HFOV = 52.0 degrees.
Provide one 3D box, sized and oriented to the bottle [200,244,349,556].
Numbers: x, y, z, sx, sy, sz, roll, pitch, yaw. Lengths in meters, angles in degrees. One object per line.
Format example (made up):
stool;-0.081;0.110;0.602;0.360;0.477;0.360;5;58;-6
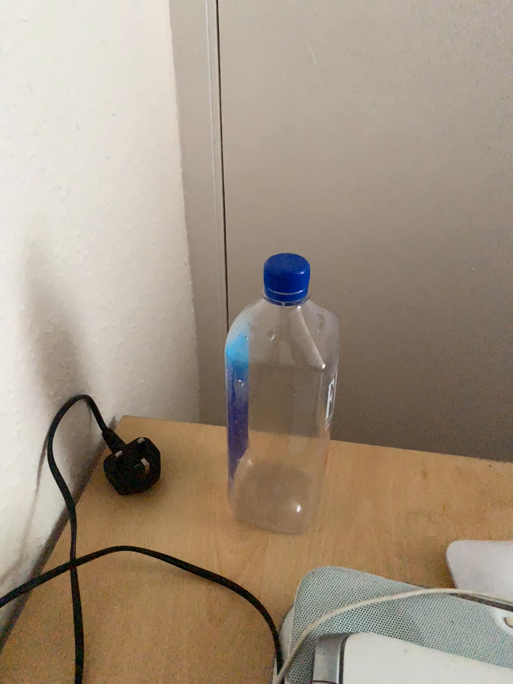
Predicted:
bottle;0.016;0.046;0.385;0.080;0.208;0.091;6;33;9
